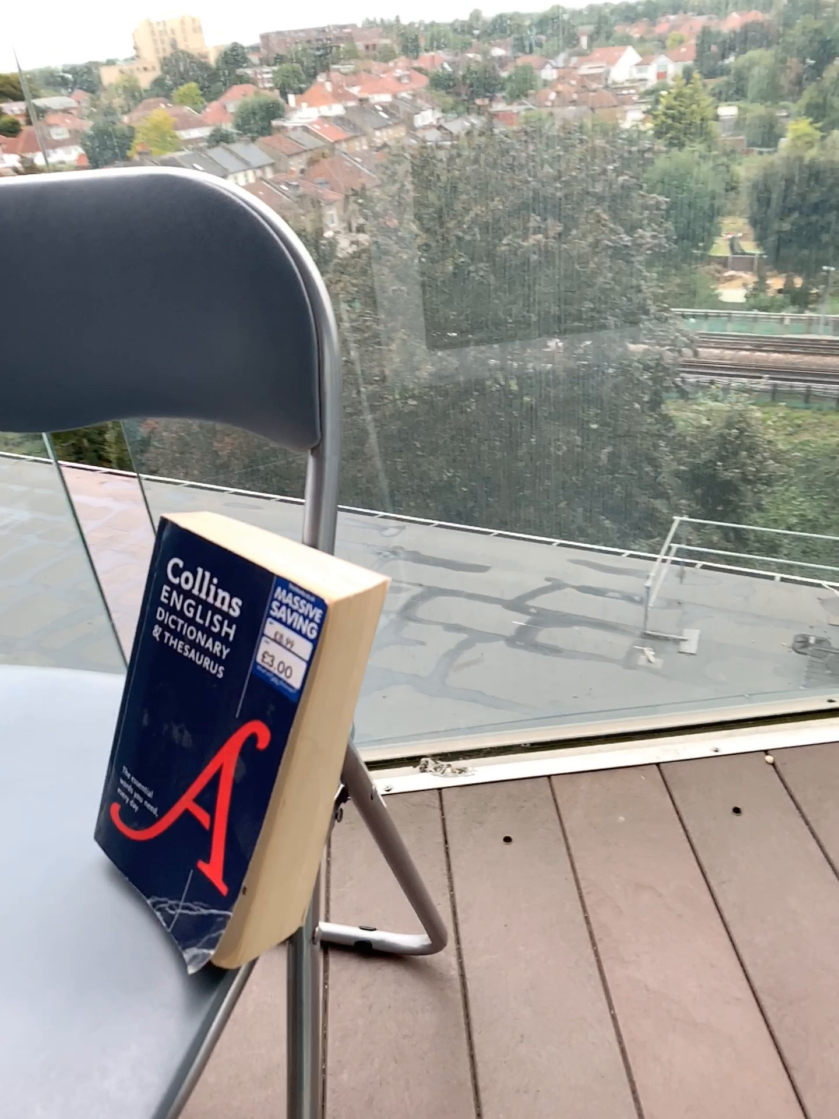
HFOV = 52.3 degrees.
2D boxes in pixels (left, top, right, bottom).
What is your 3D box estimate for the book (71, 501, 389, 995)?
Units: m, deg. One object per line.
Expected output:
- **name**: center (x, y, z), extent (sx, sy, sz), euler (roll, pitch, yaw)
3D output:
- **book**: center (-0.108, 0.087, 0.448), extent (0.141, 0.199, 0.060), euler (25, 15, 41)
